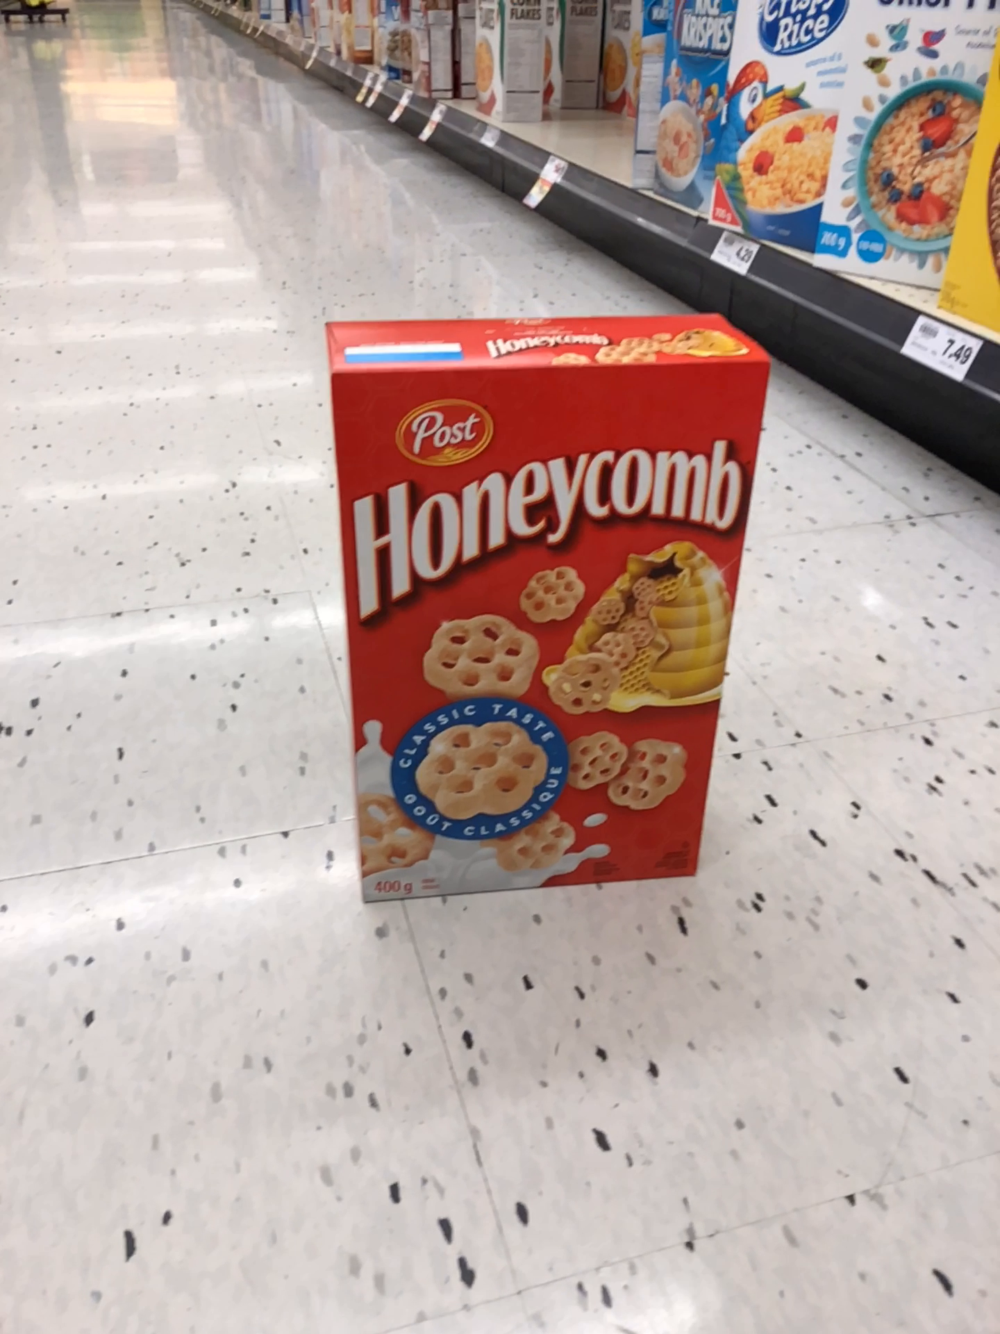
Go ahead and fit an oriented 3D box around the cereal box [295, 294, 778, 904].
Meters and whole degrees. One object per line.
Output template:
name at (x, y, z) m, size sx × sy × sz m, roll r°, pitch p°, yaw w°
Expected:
cereal box at (0.009, -0.026, 0.559) m, size 0.200 × 0.298 × 0.080 m, roll -3°, pitch 32°, yaw -8°
